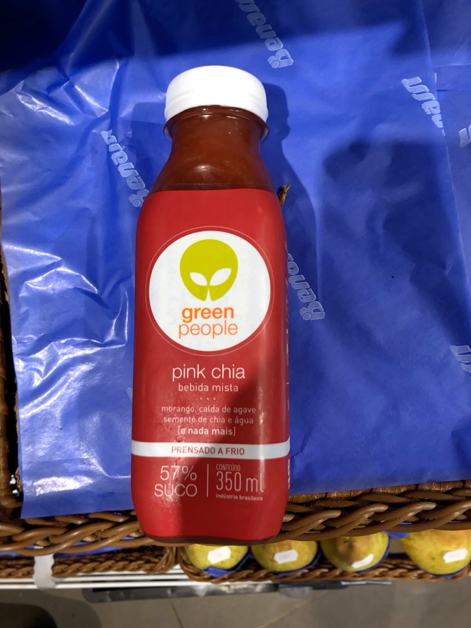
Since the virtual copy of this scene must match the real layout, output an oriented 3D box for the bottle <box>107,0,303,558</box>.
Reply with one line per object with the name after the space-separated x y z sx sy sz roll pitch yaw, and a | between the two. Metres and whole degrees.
-0.007 -0.016 0.205 0.060 0.060 0.190 -1 83 10 | bottle
